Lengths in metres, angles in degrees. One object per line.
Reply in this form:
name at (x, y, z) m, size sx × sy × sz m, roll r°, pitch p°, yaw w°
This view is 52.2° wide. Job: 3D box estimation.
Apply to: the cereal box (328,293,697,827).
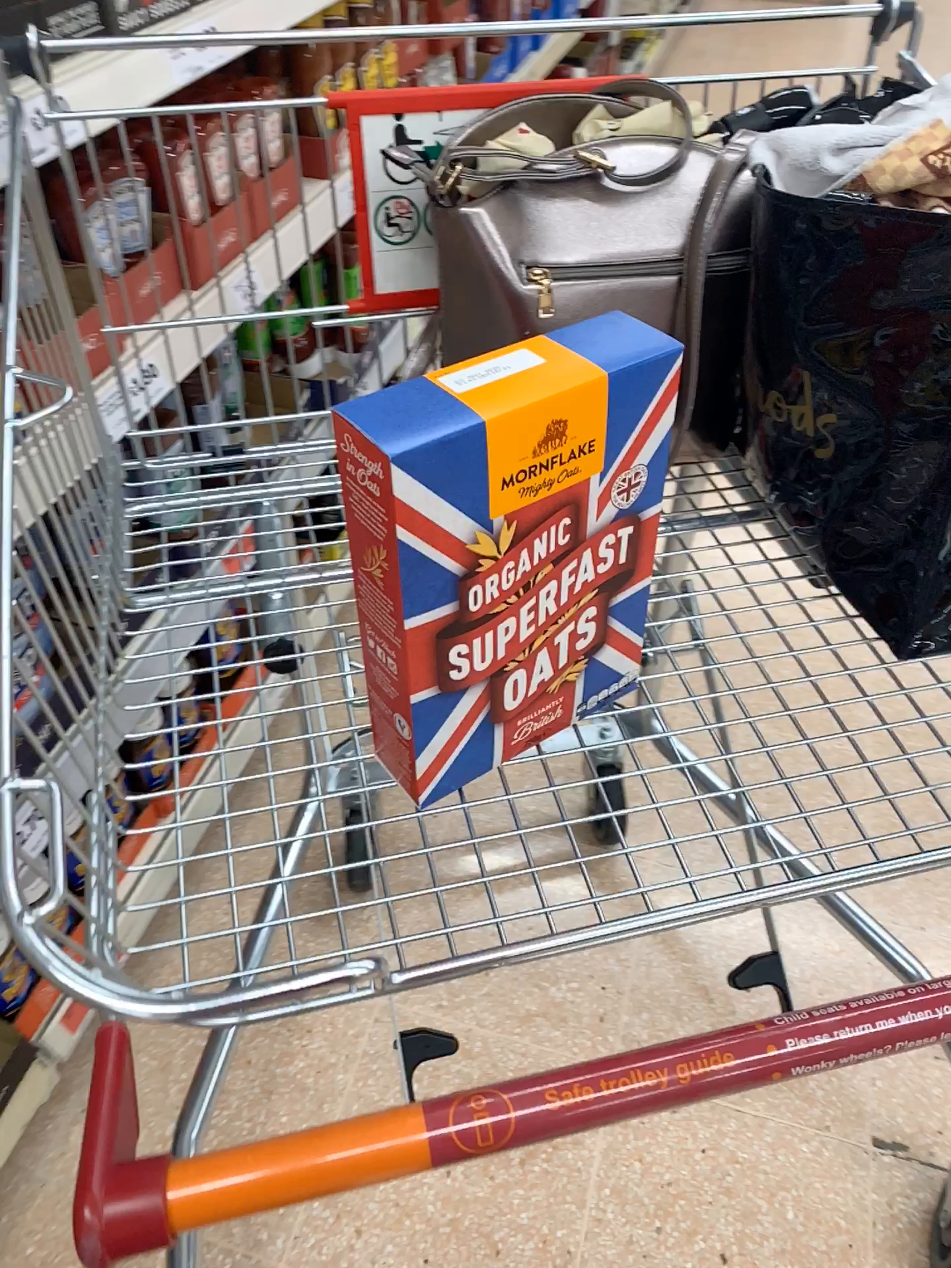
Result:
cereal box at (0.023, -0.033, 0.540) m, size 0.181 × 0.258 × 0.050 m, roll -26°, pitch 47°, yaw -26°
